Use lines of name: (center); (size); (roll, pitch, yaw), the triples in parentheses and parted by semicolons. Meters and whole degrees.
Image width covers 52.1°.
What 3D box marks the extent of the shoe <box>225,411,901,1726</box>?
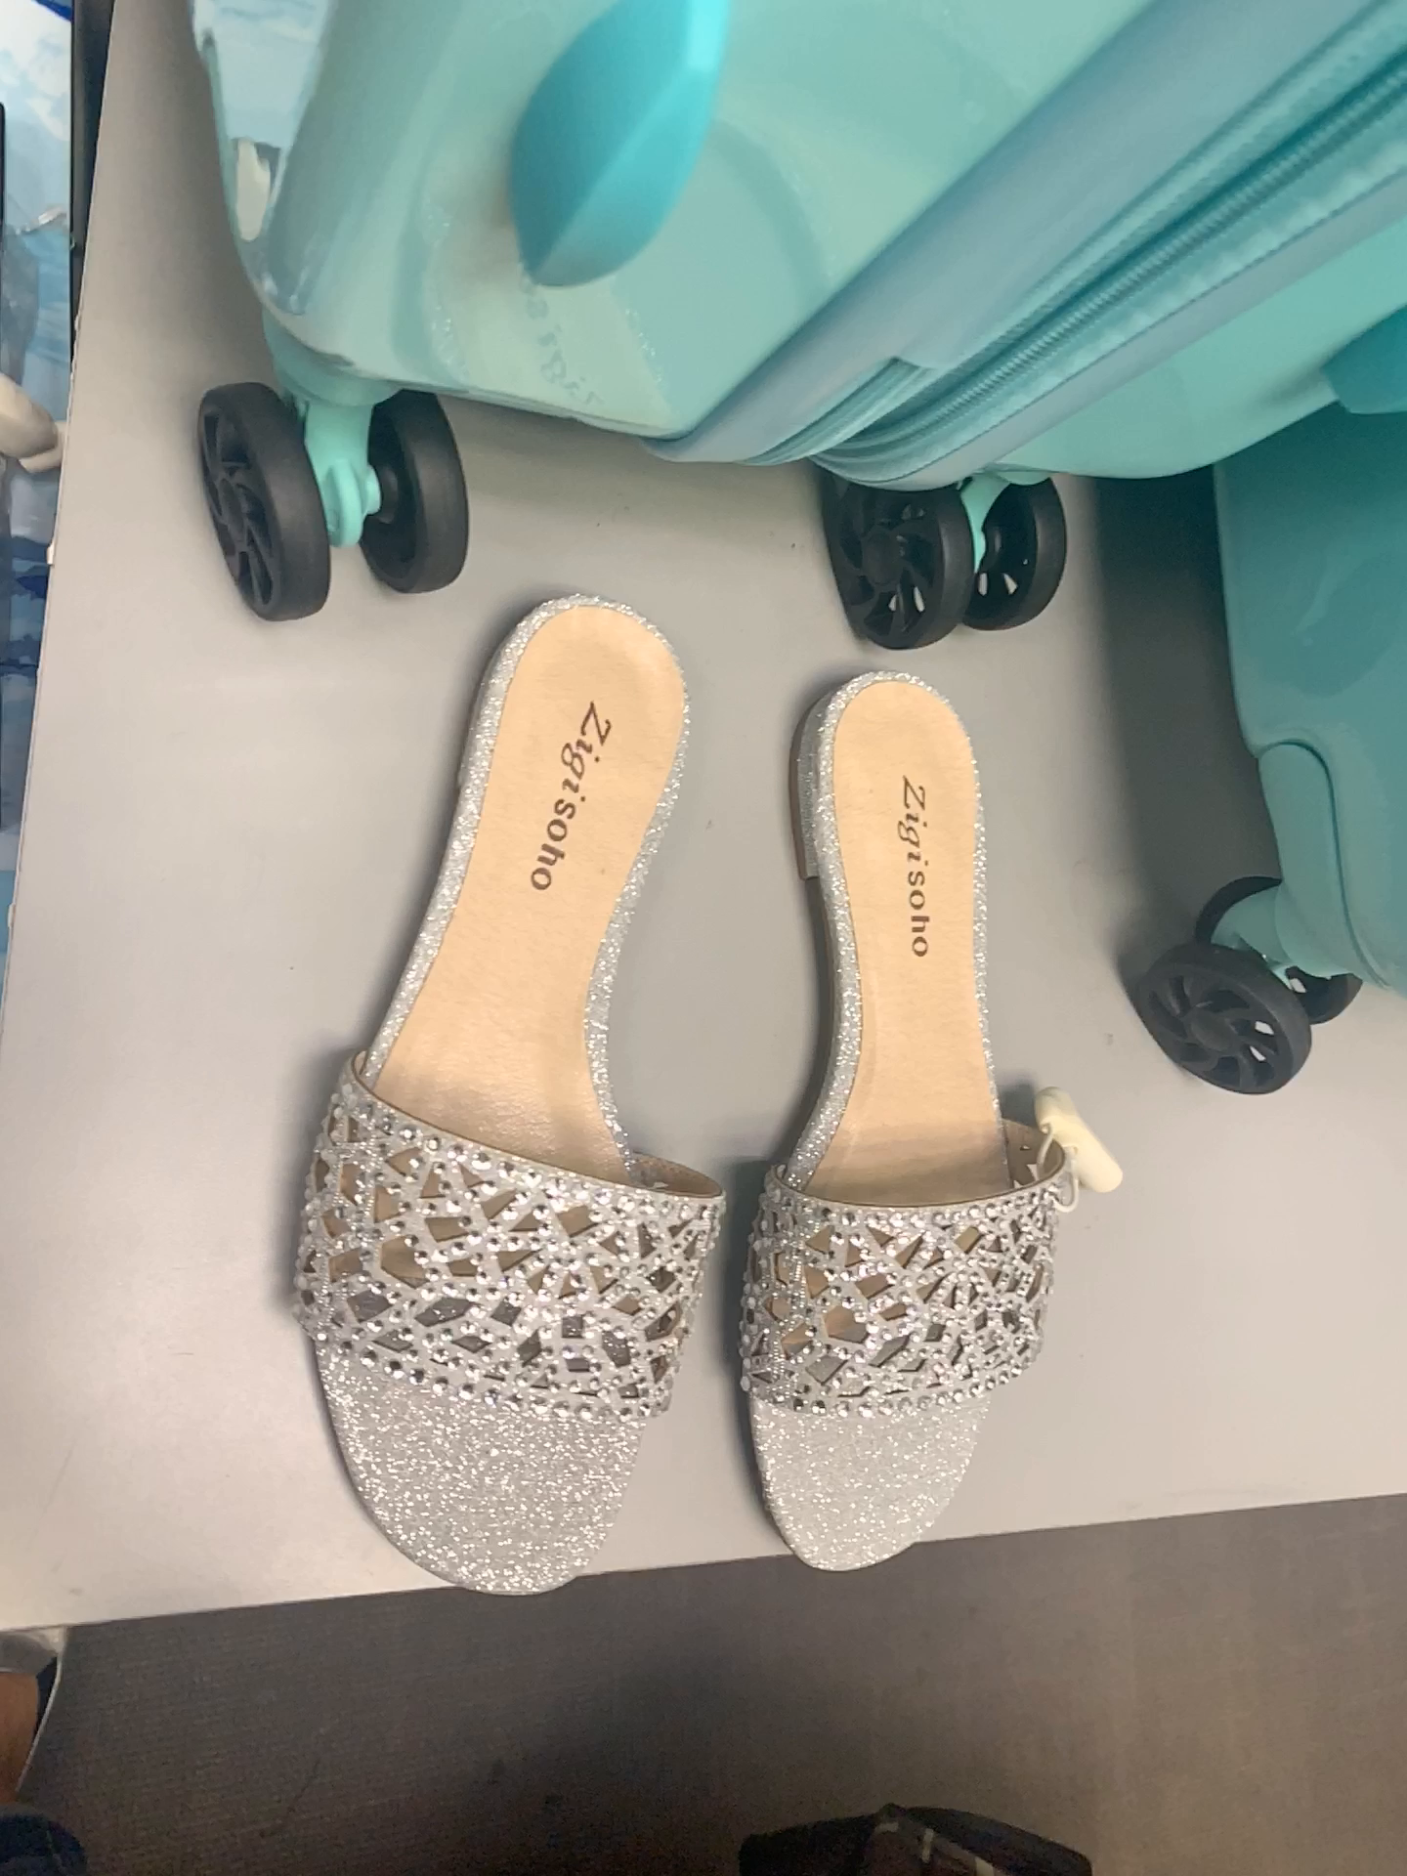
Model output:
shoe: (-0.027, 0.026, 0.312); (0.100, 0.061, 0.243); (12, 78, -25)

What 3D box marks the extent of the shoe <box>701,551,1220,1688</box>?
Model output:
shoe: (0.066, 0.041, 0.355); (0.099, 0.061, 0.242); (9, 79, -25)
